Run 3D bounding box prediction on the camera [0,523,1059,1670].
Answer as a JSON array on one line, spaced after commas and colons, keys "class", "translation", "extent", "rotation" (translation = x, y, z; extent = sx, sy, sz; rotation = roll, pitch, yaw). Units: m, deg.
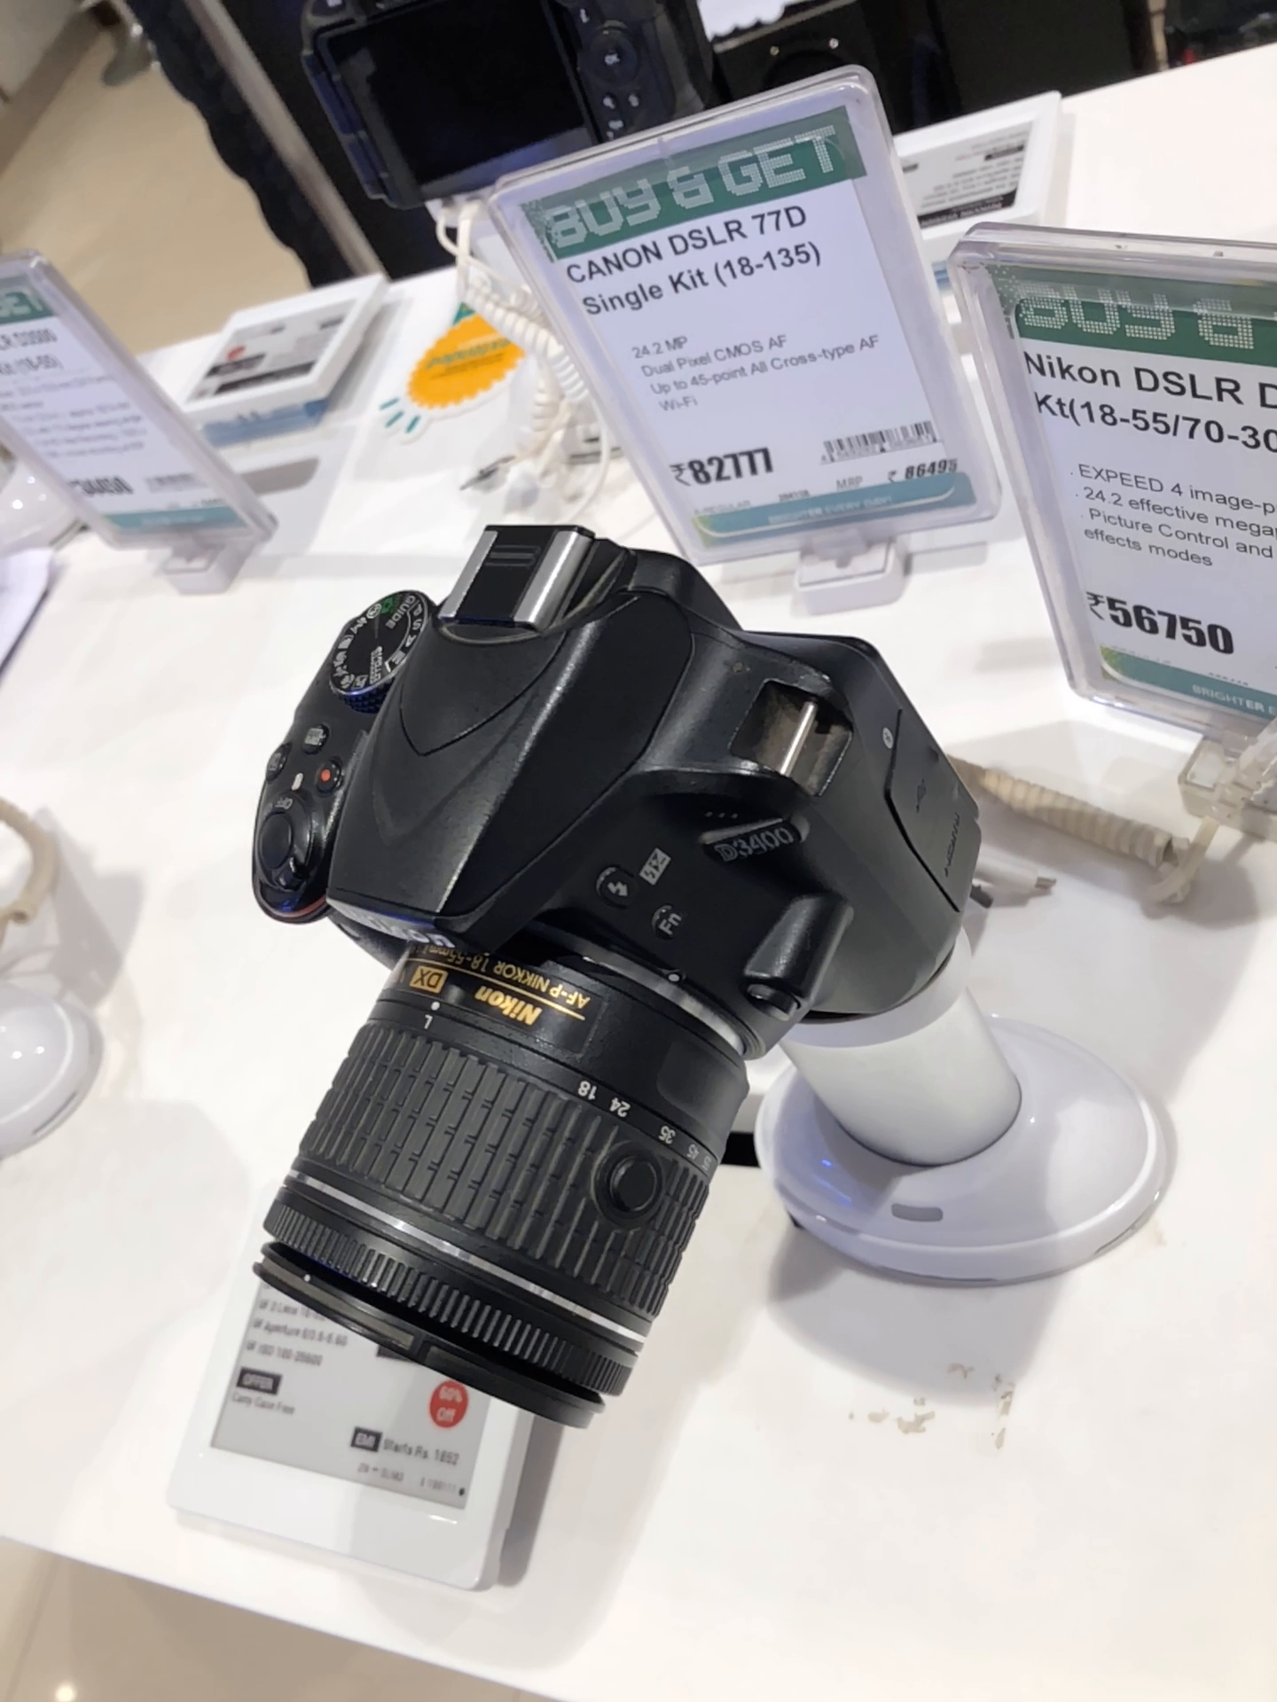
[{"class": "camera", "translation": [-0.026, 0.027, 0.218], "extent": [0.130, 0.089, 0.120], "rotation": [10, 63, 35]}]
